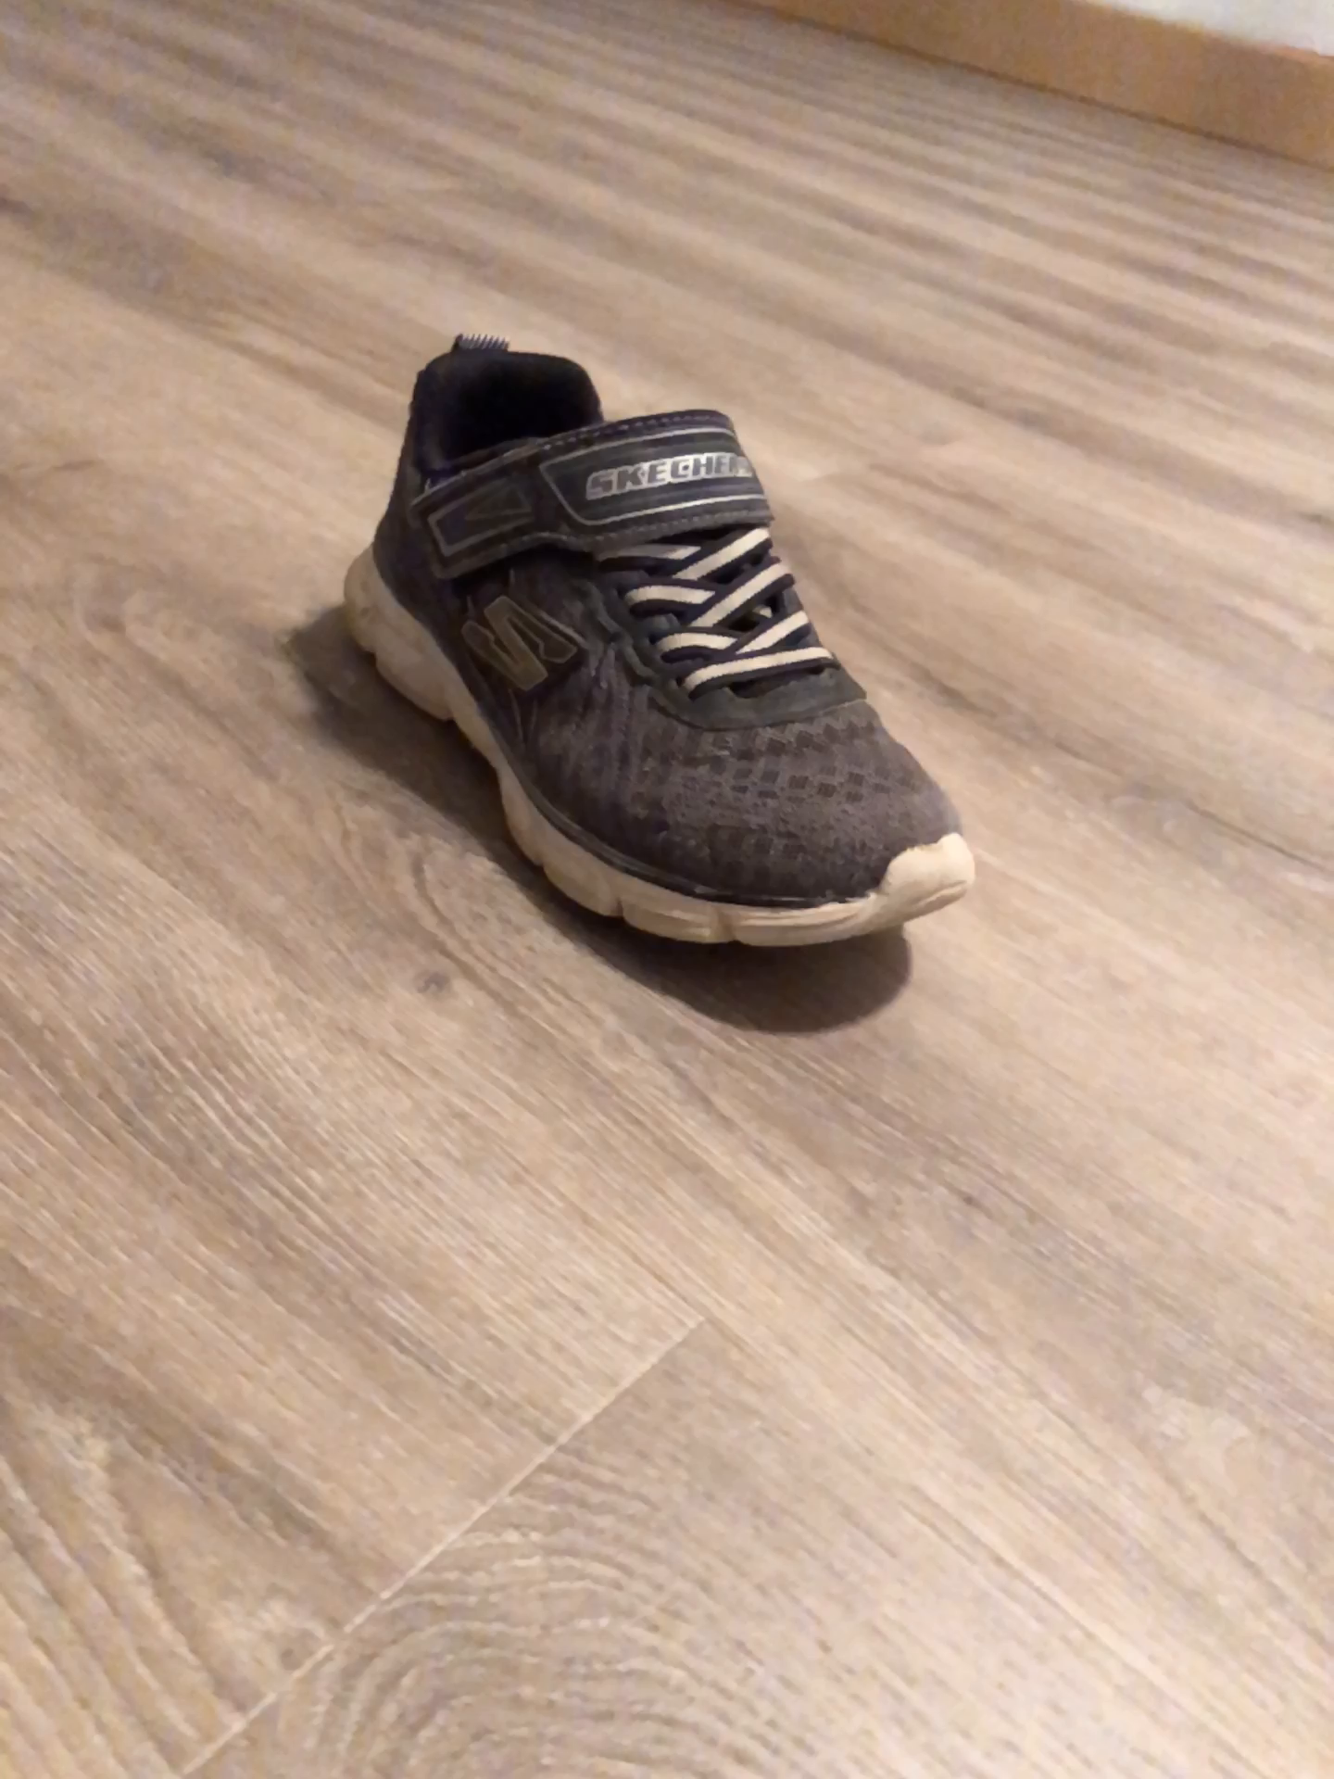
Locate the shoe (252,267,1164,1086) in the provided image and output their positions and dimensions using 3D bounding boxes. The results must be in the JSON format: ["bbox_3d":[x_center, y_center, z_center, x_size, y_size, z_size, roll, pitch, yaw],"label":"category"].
[{"bbox_3d":[-0.010,-0.073,0.383,0.100,0.099,0.231,-14,42,-35],"label":"shoe"}]
